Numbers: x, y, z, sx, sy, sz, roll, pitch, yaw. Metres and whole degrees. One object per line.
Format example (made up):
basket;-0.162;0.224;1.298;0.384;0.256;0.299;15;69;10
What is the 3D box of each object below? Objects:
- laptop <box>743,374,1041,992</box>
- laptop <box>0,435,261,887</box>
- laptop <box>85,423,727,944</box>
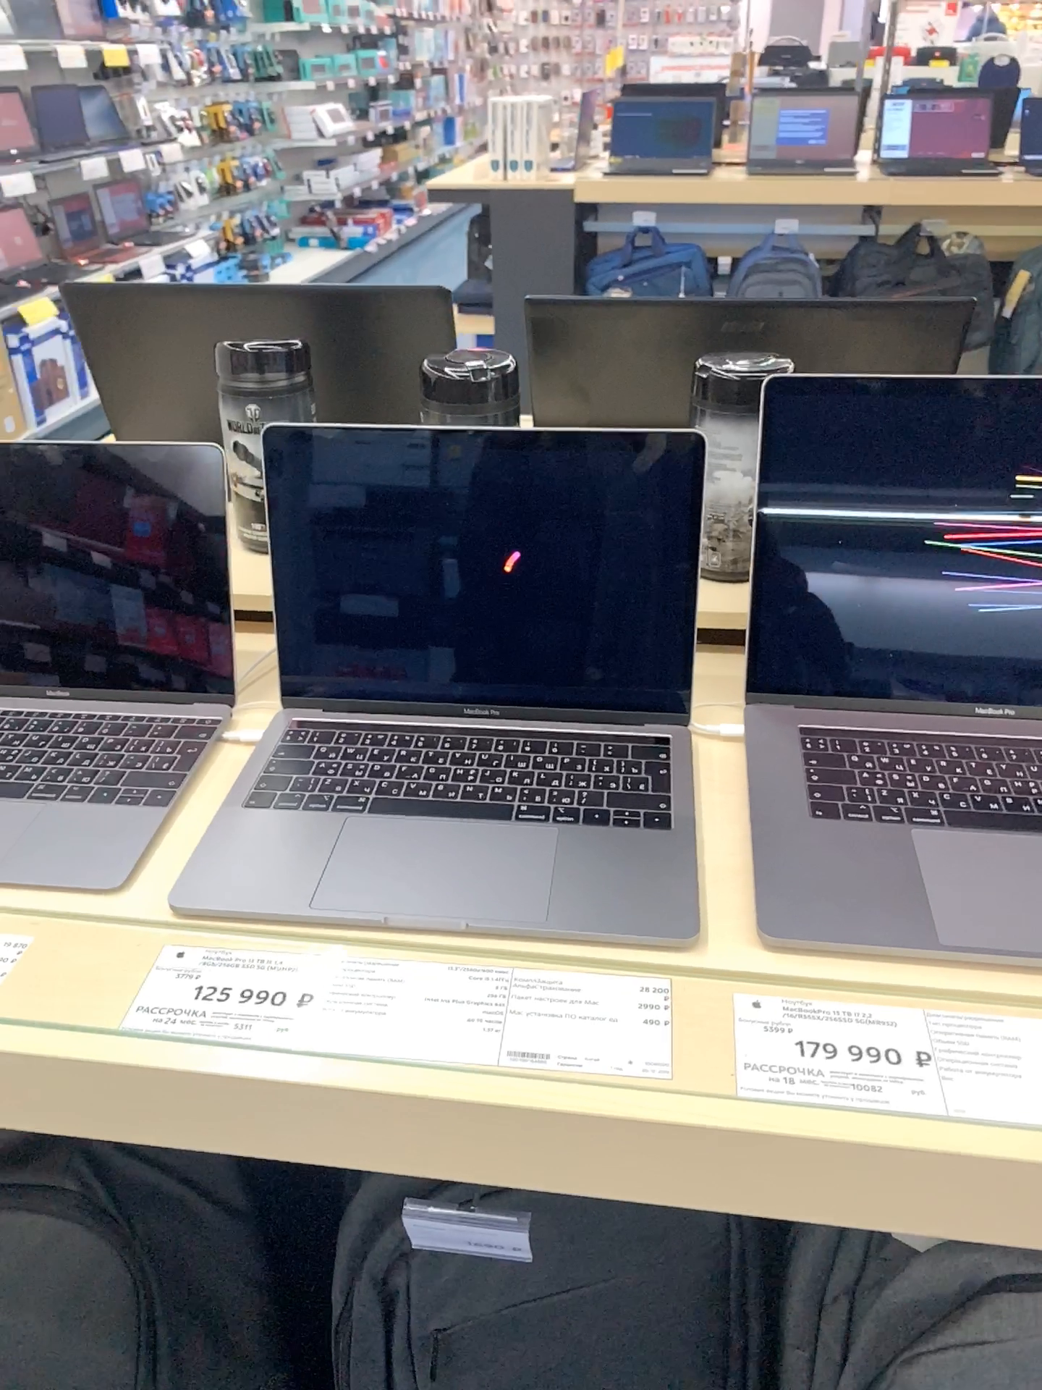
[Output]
laptop;0.321;-0.039;0.629;0.346;0.210;0.329;3;31;8
laptop;-0.361;-0.040;0.704;0.280;0.172;0.267;2;32;6
laptop;-0.043;-0.026;0.648;0.299;0.195;0.261;2;31;6
